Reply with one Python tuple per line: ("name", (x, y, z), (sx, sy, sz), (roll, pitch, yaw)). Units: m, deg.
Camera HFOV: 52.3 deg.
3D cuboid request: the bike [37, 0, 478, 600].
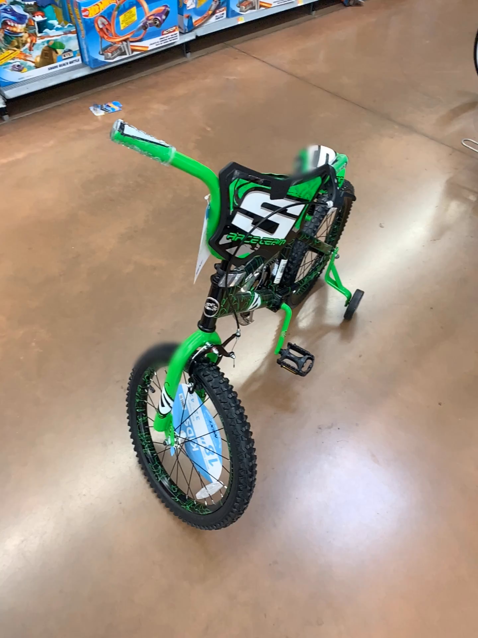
("bike", (0.184, -0.150, 1.195), (0.636, 0.915, 1.055), (17, 51, 13))
